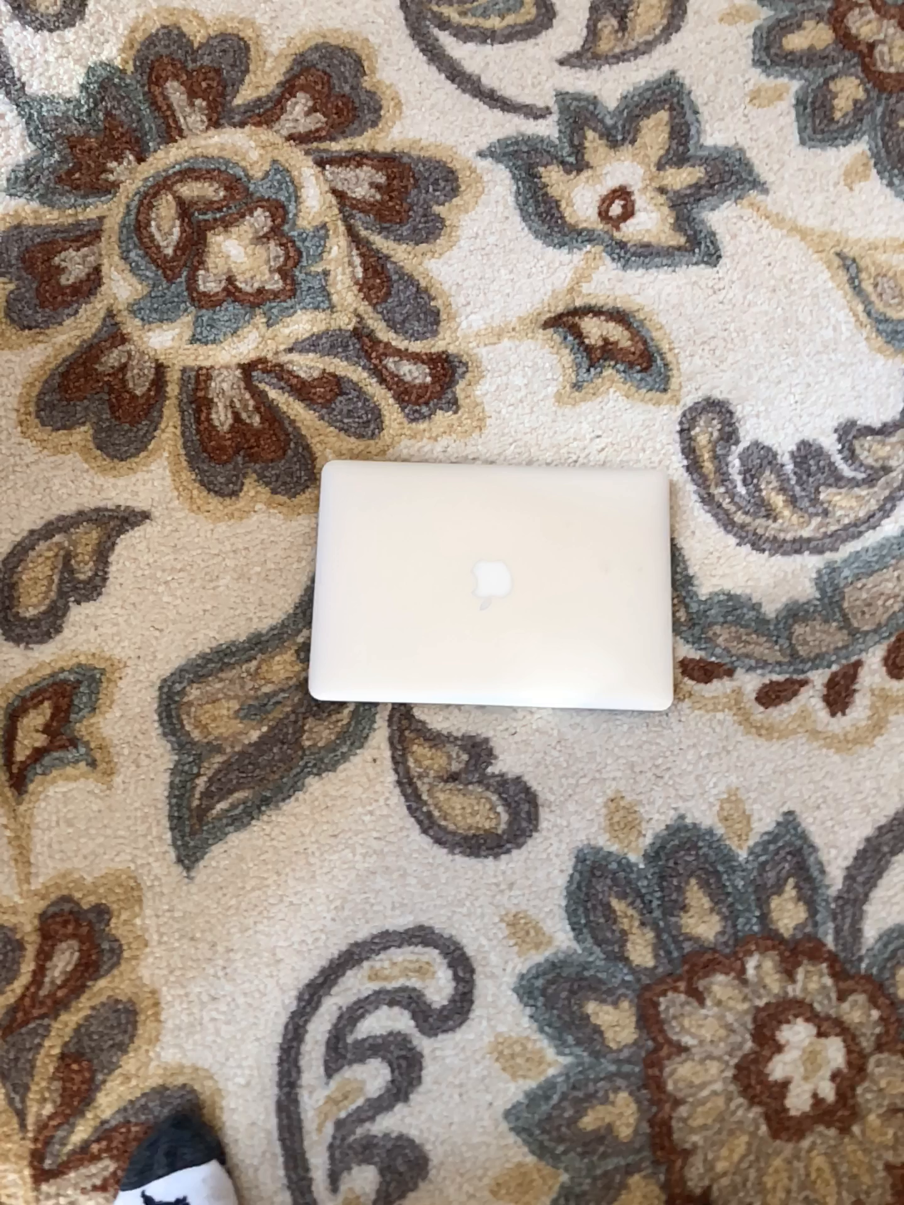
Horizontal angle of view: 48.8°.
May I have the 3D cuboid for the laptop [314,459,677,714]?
[{"bbox_3d":[0.038,-0.016,0.830,0.295,0.001,0.207,2,77,-1],"label":"laptop"}]
